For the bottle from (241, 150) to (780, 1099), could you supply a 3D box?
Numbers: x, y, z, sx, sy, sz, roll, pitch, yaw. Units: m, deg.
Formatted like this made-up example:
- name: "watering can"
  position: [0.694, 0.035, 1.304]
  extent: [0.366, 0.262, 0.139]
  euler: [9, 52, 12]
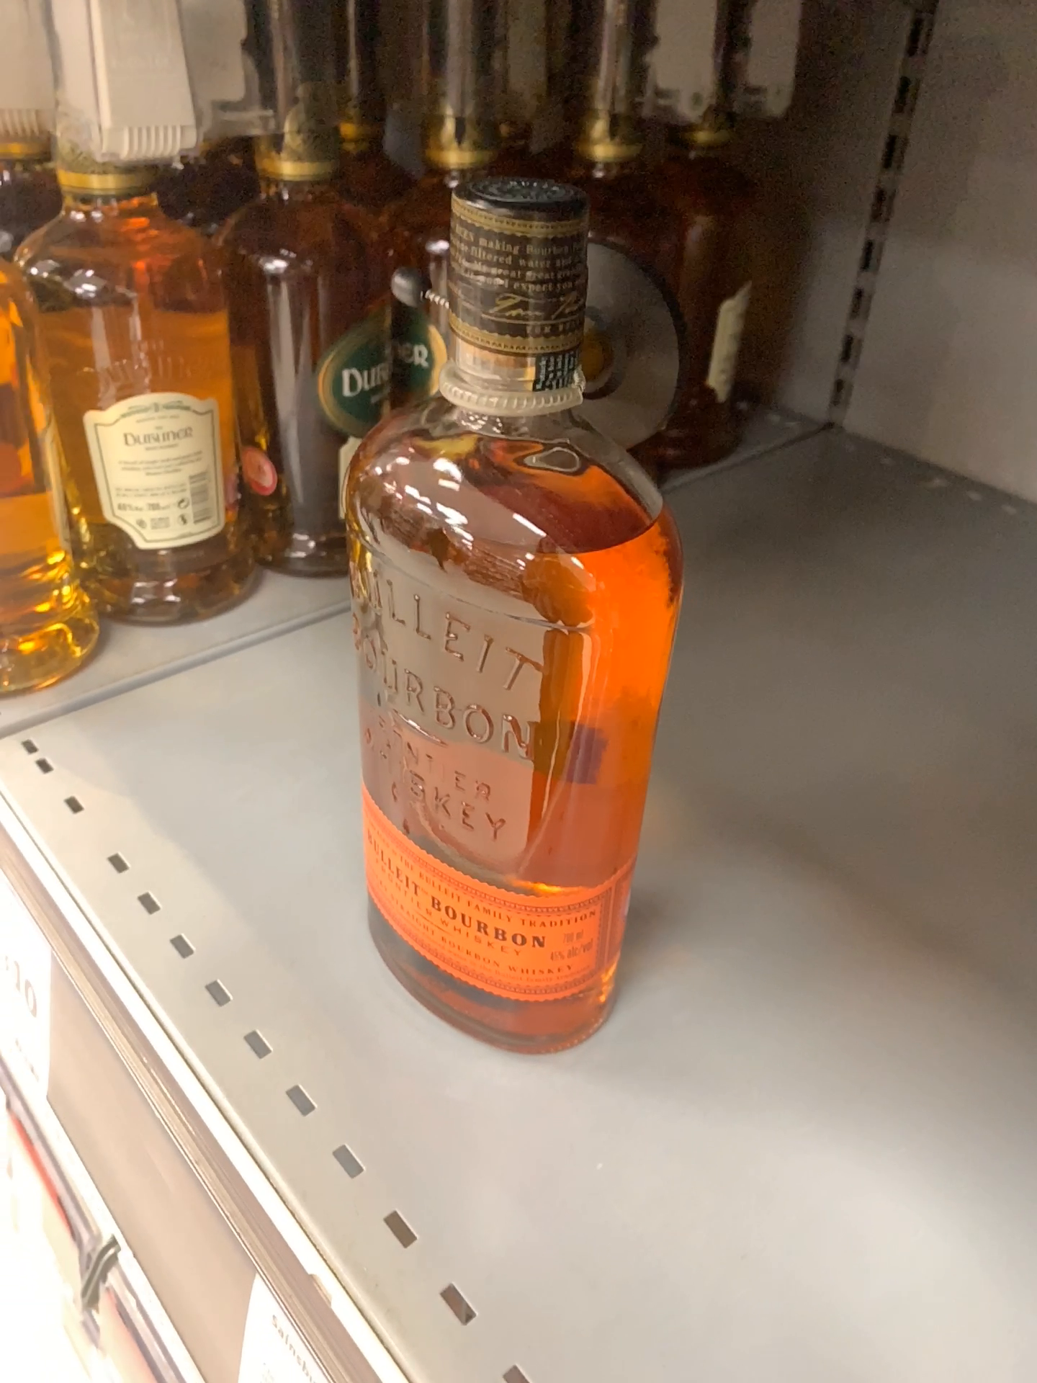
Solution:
- name: "bottle"
  position: [-0.010, -0.010, 0.290]
  extent: [0.100, 0.228, 0.060]
  euler: [31, 43, 34]
